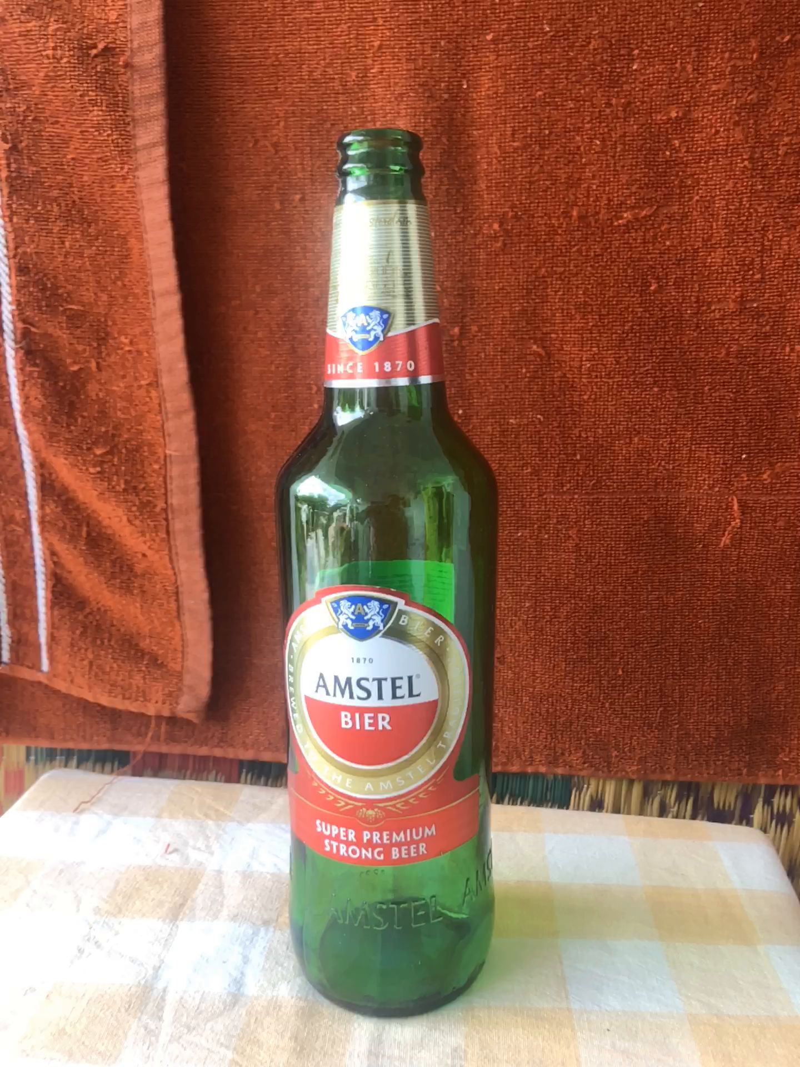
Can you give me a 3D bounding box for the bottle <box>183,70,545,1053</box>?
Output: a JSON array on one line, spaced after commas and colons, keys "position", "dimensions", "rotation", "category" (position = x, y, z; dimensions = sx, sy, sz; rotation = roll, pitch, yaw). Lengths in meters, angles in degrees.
[{"position": [-0.007, 0.012, 0.283], "dimensions": [0.080, 0.269, 0.080], "rotation": [1, 14, 0], "category": "bottle"}]
